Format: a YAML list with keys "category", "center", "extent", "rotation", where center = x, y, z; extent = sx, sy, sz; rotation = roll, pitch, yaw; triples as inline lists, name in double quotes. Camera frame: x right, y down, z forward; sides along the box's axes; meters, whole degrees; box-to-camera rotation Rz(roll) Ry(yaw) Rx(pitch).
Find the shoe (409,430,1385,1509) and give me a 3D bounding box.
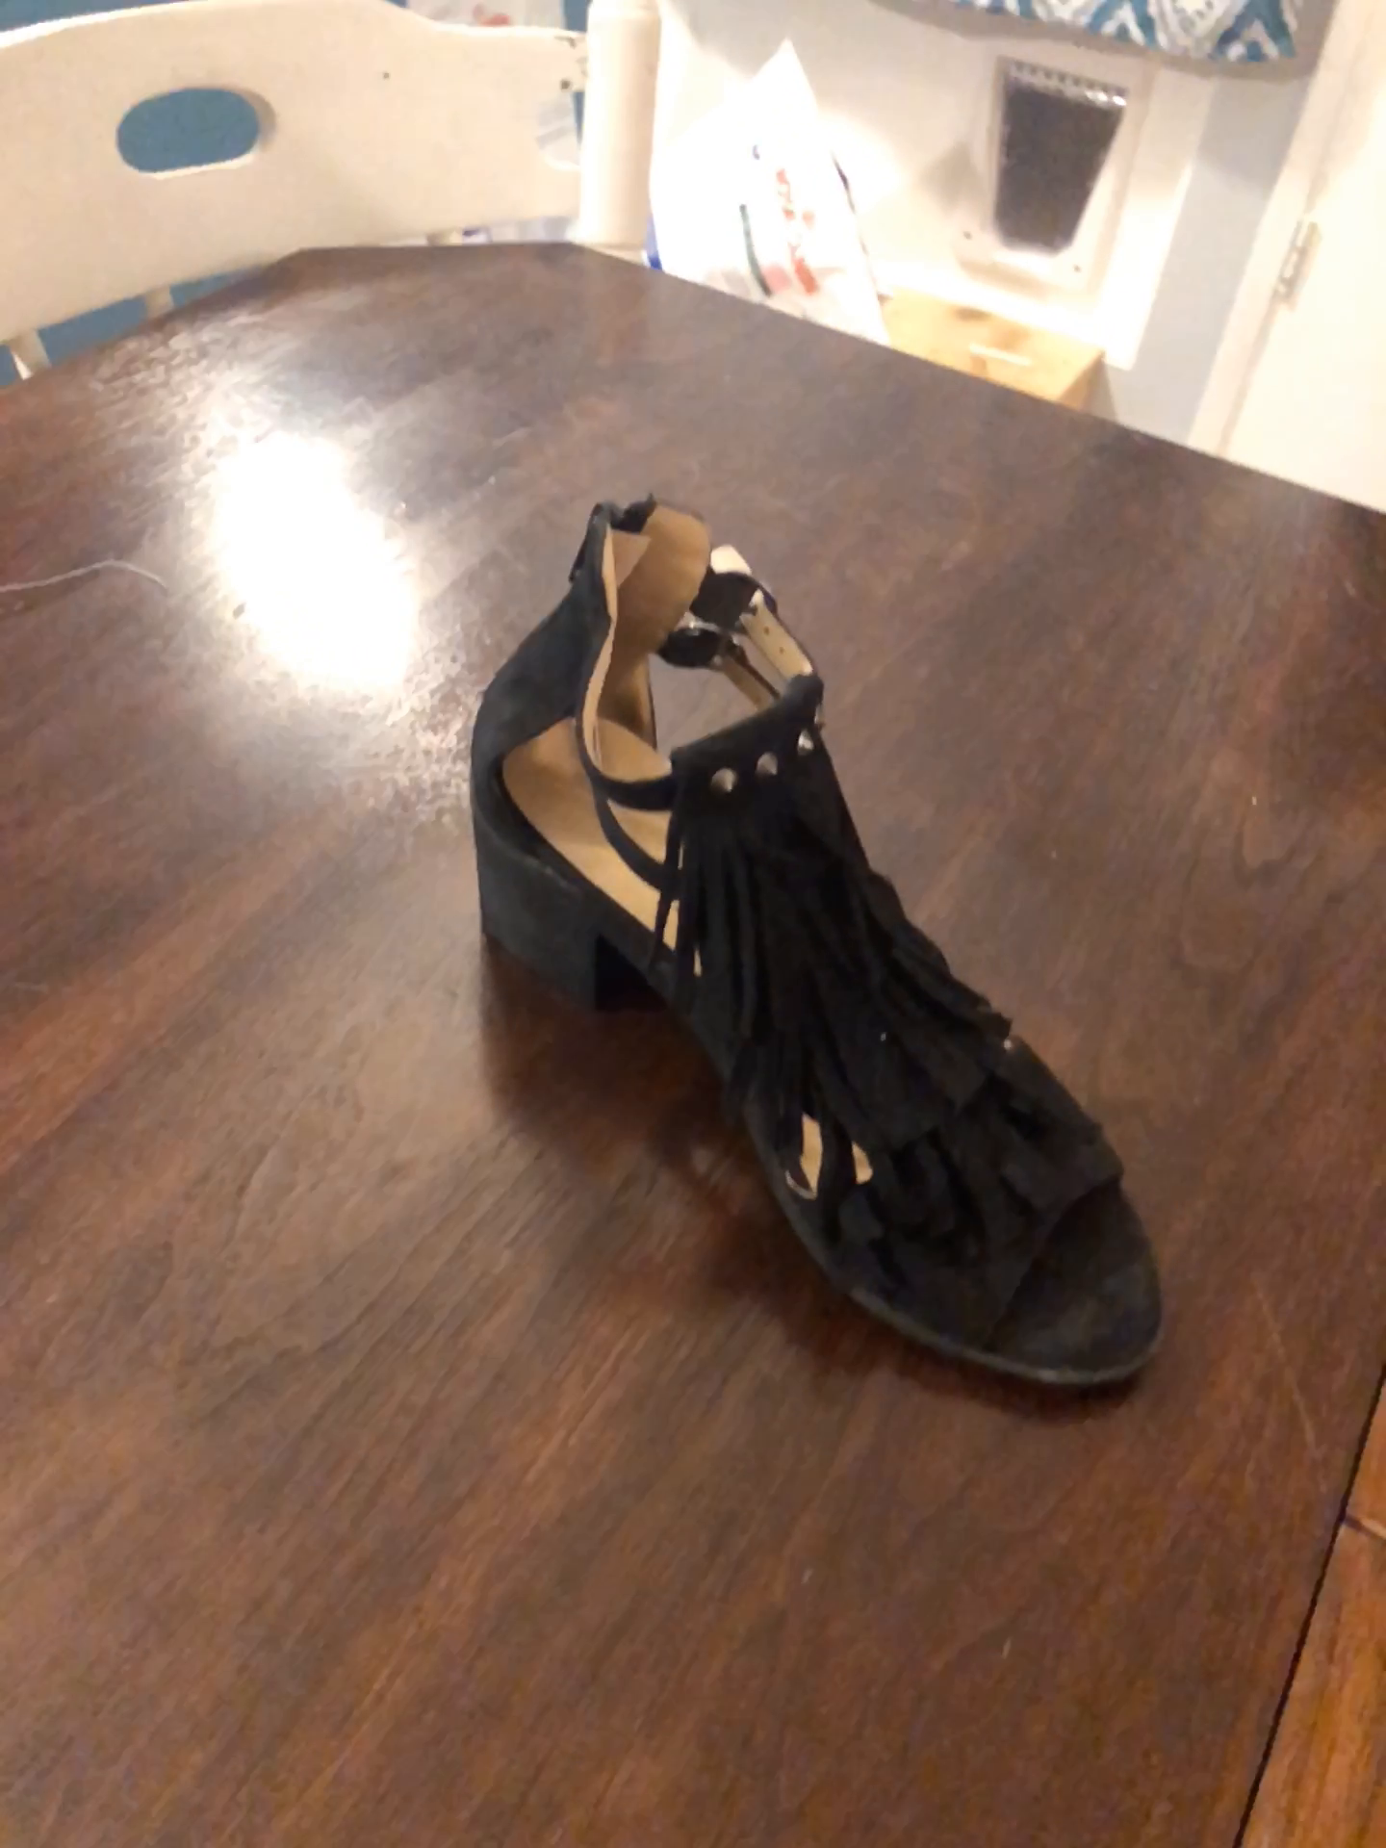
- category: "shoe"
  center: [0.043, 0.002, 0.404]
  extent: [0.100, 0.150, 0.240]
  rotation: [-33, 57, -31]
